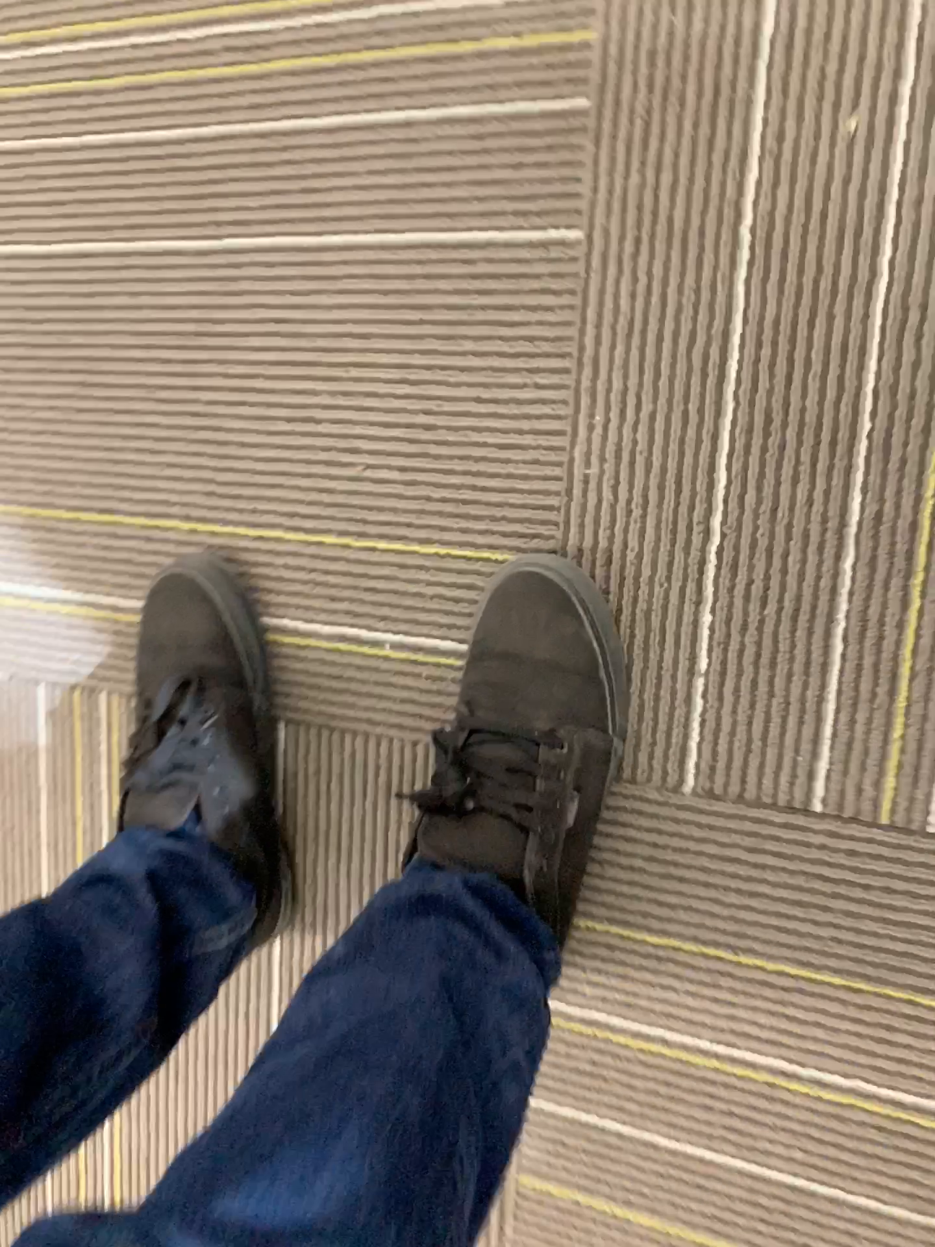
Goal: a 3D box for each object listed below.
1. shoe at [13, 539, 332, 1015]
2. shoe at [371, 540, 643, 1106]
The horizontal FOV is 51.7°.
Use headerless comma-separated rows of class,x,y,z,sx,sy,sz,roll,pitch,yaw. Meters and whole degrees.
shoe,-0.194,0.098,0.658,0.109,0.113,0.291,-8,94,22
shoe,0.025,0.104,0.570,0.109,0.113,0.291,7,100,21
